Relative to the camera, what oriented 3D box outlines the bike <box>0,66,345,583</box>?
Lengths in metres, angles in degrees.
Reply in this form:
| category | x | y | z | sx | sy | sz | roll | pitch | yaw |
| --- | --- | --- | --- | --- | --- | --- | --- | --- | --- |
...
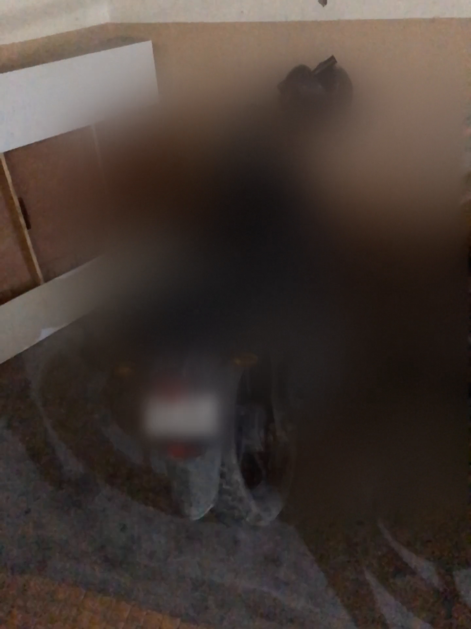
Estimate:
| category | x | y | z | sx | sy | sz | roll | pitch | yaw |
| --- | --- | --- | --- | --- | --- | --- | --- | --- | --- |
| bike | -0.028 | -0.173 | 1.990 | 0.718 | 1.179 | 1.711 | 5 | 35 | 13 |
